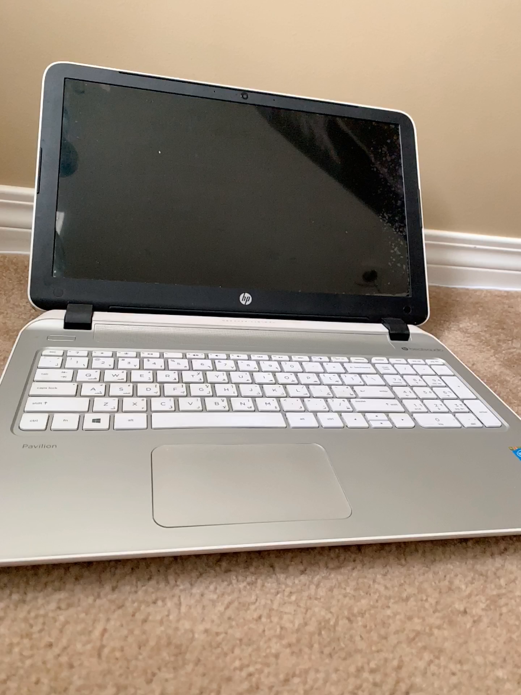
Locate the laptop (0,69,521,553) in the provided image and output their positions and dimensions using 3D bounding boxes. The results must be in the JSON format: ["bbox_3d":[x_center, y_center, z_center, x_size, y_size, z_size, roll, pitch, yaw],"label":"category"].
[{"bbox_3d":[0.012,-0.069,0.389,0.349,0.187,0.351,1,28,-13],"label":"laptop"}]
